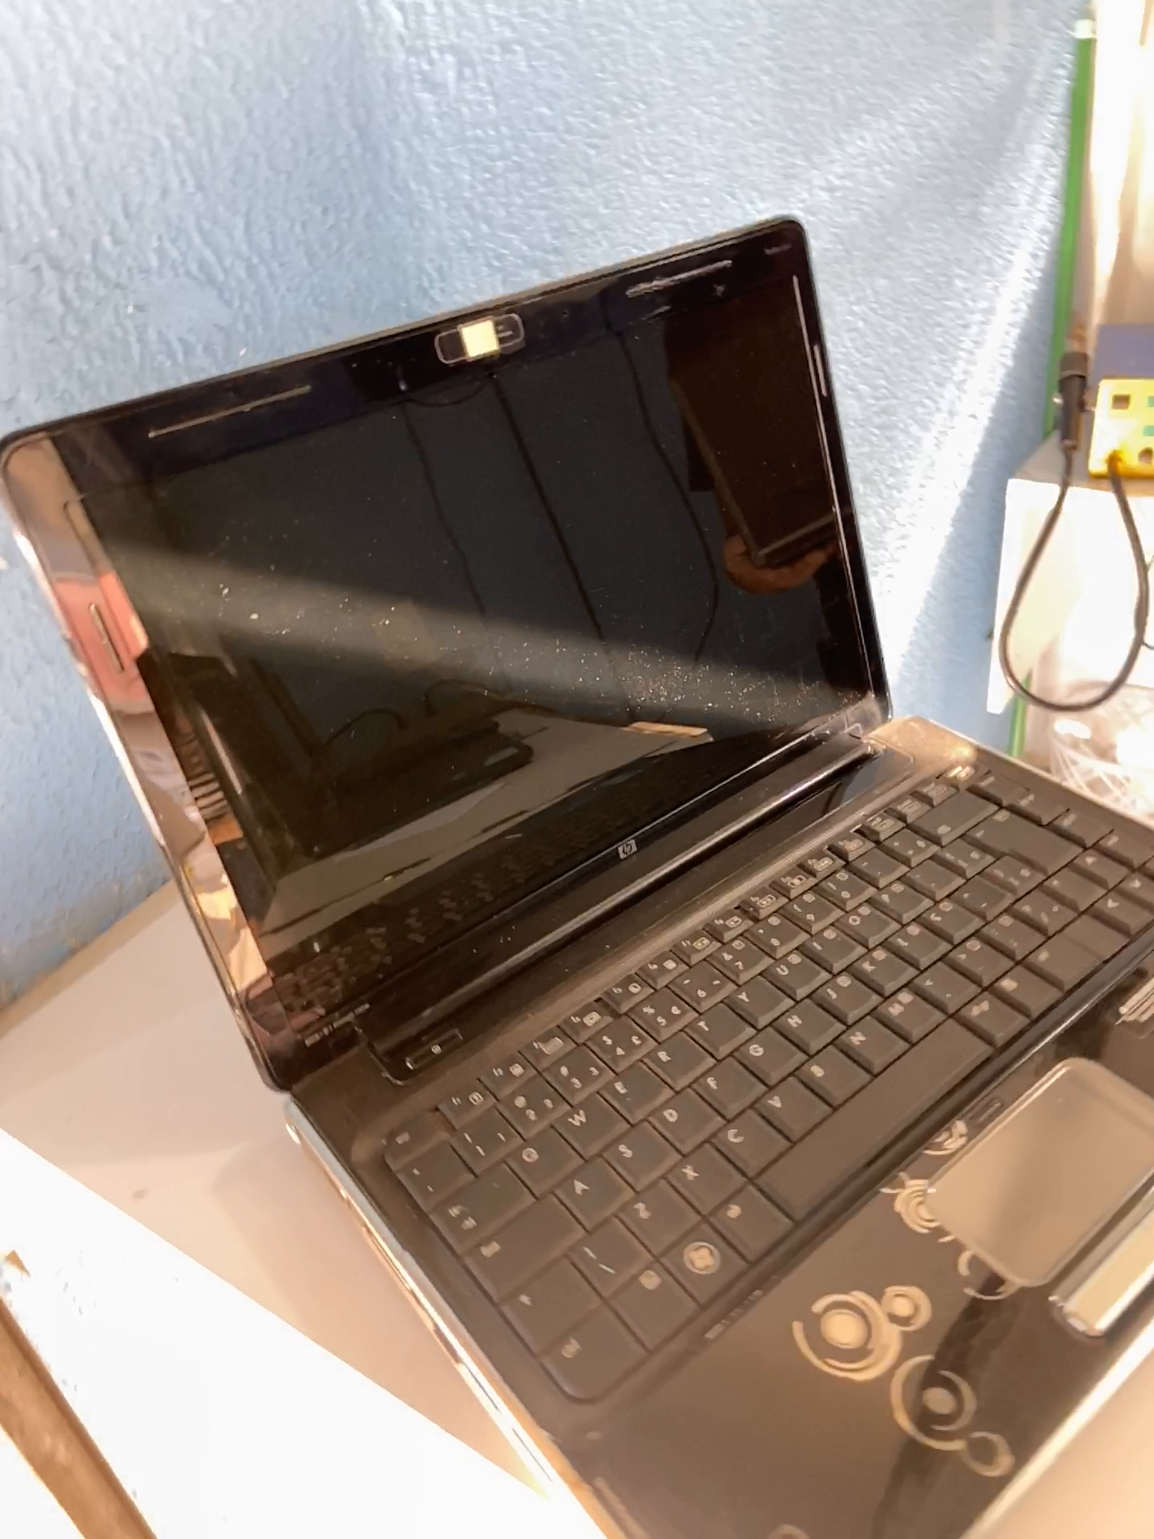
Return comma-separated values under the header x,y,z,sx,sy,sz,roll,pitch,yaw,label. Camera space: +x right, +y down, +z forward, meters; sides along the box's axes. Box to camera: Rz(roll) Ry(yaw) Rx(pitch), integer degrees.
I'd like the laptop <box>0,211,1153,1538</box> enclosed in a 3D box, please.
x,y,z,sx,sy,sz,roll,pitch,yaw,label
0.063,-0.015,0.367,0.322,0.210,0.302,-28,39,-28,laptop
